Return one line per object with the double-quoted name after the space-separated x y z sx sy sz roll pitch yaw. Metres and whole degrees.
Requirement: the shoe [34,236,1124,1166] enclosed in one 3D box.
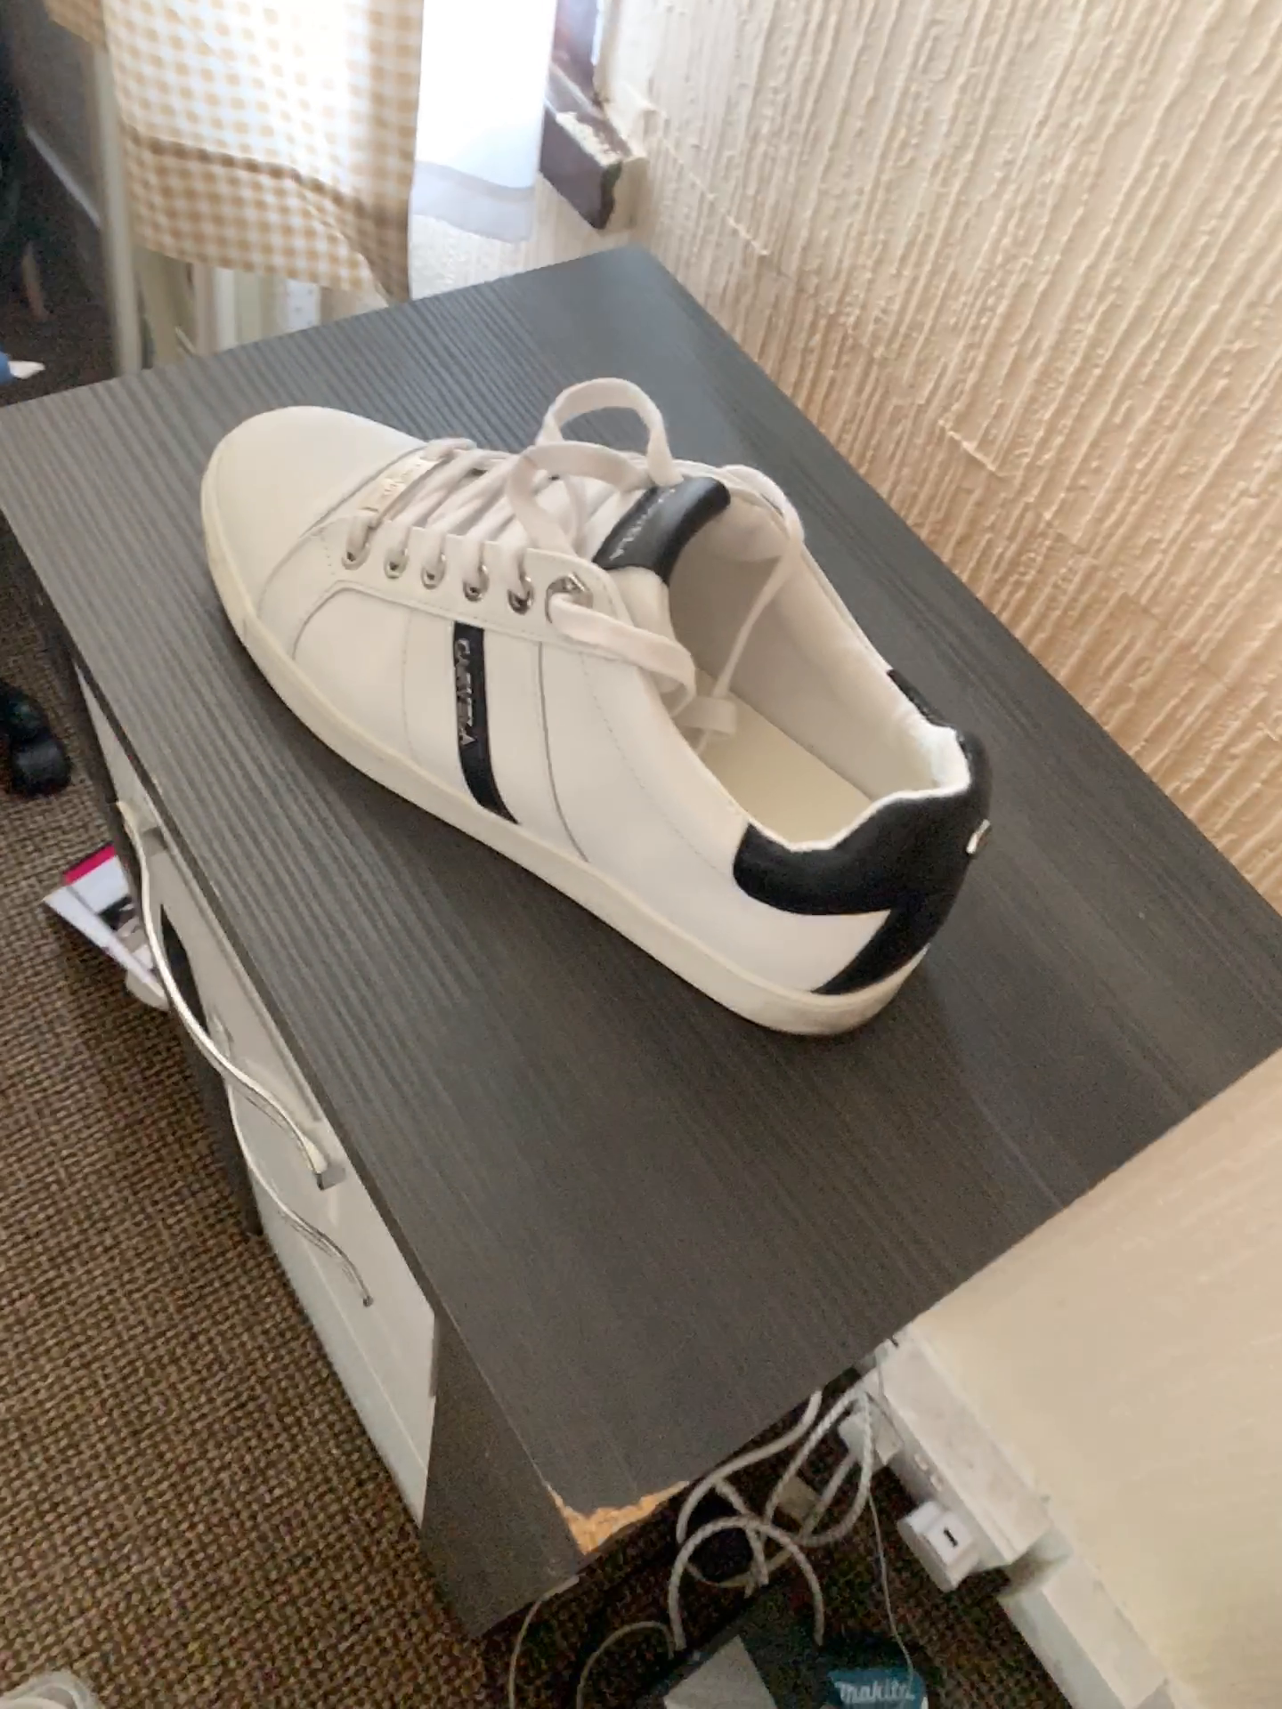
-0.022 -0.049 0.359 0.260 0.087 0.104 35 58 12 "shoe"
